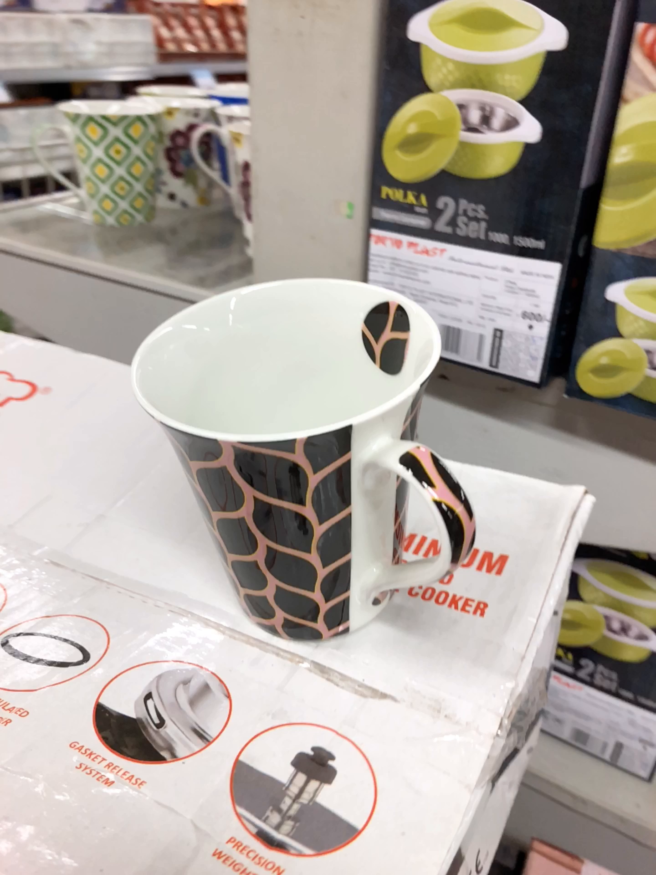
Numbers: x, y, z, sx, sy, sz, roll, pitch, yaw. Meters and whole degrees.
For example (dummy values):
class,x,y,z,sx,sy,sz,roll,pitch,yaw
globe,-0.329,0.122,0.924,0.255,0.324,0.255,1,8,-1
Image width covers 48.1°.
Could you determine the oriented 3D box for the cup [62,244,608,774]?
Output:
class,x,y,z,sx,sy,sz,roll,pitch,yaw
cup,0.001,0.007,0.212,0.090,0.079,0.110,-30,42,-33
